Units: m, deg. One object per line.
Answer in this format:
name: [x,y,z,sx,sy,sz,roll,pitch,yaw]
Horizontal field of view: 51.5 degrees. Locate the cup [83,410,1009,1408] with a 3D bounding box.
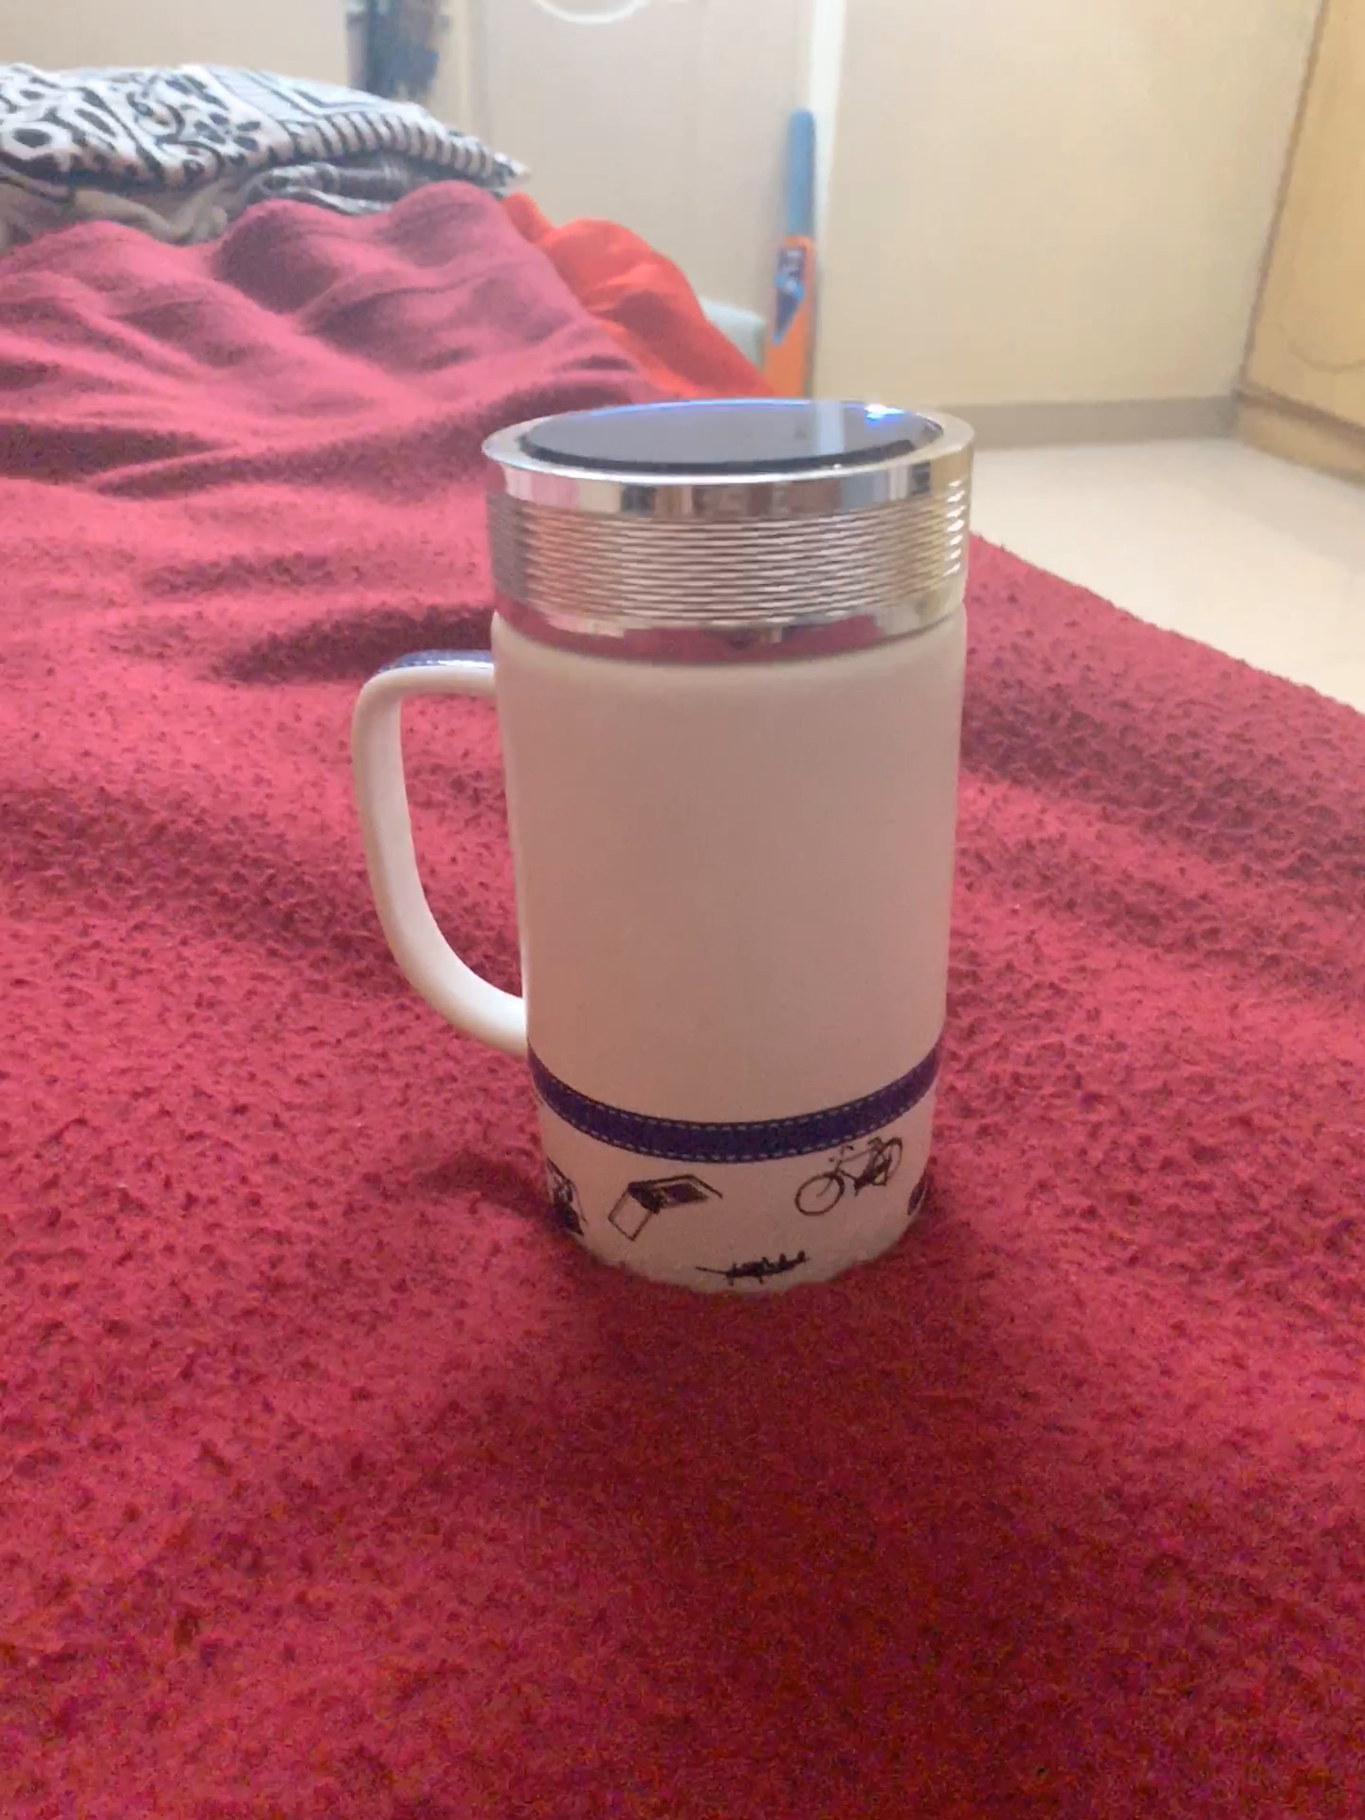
cup: [-0.011,-0.008,0.249,0.120,0.139,0.091,5,27,13]
